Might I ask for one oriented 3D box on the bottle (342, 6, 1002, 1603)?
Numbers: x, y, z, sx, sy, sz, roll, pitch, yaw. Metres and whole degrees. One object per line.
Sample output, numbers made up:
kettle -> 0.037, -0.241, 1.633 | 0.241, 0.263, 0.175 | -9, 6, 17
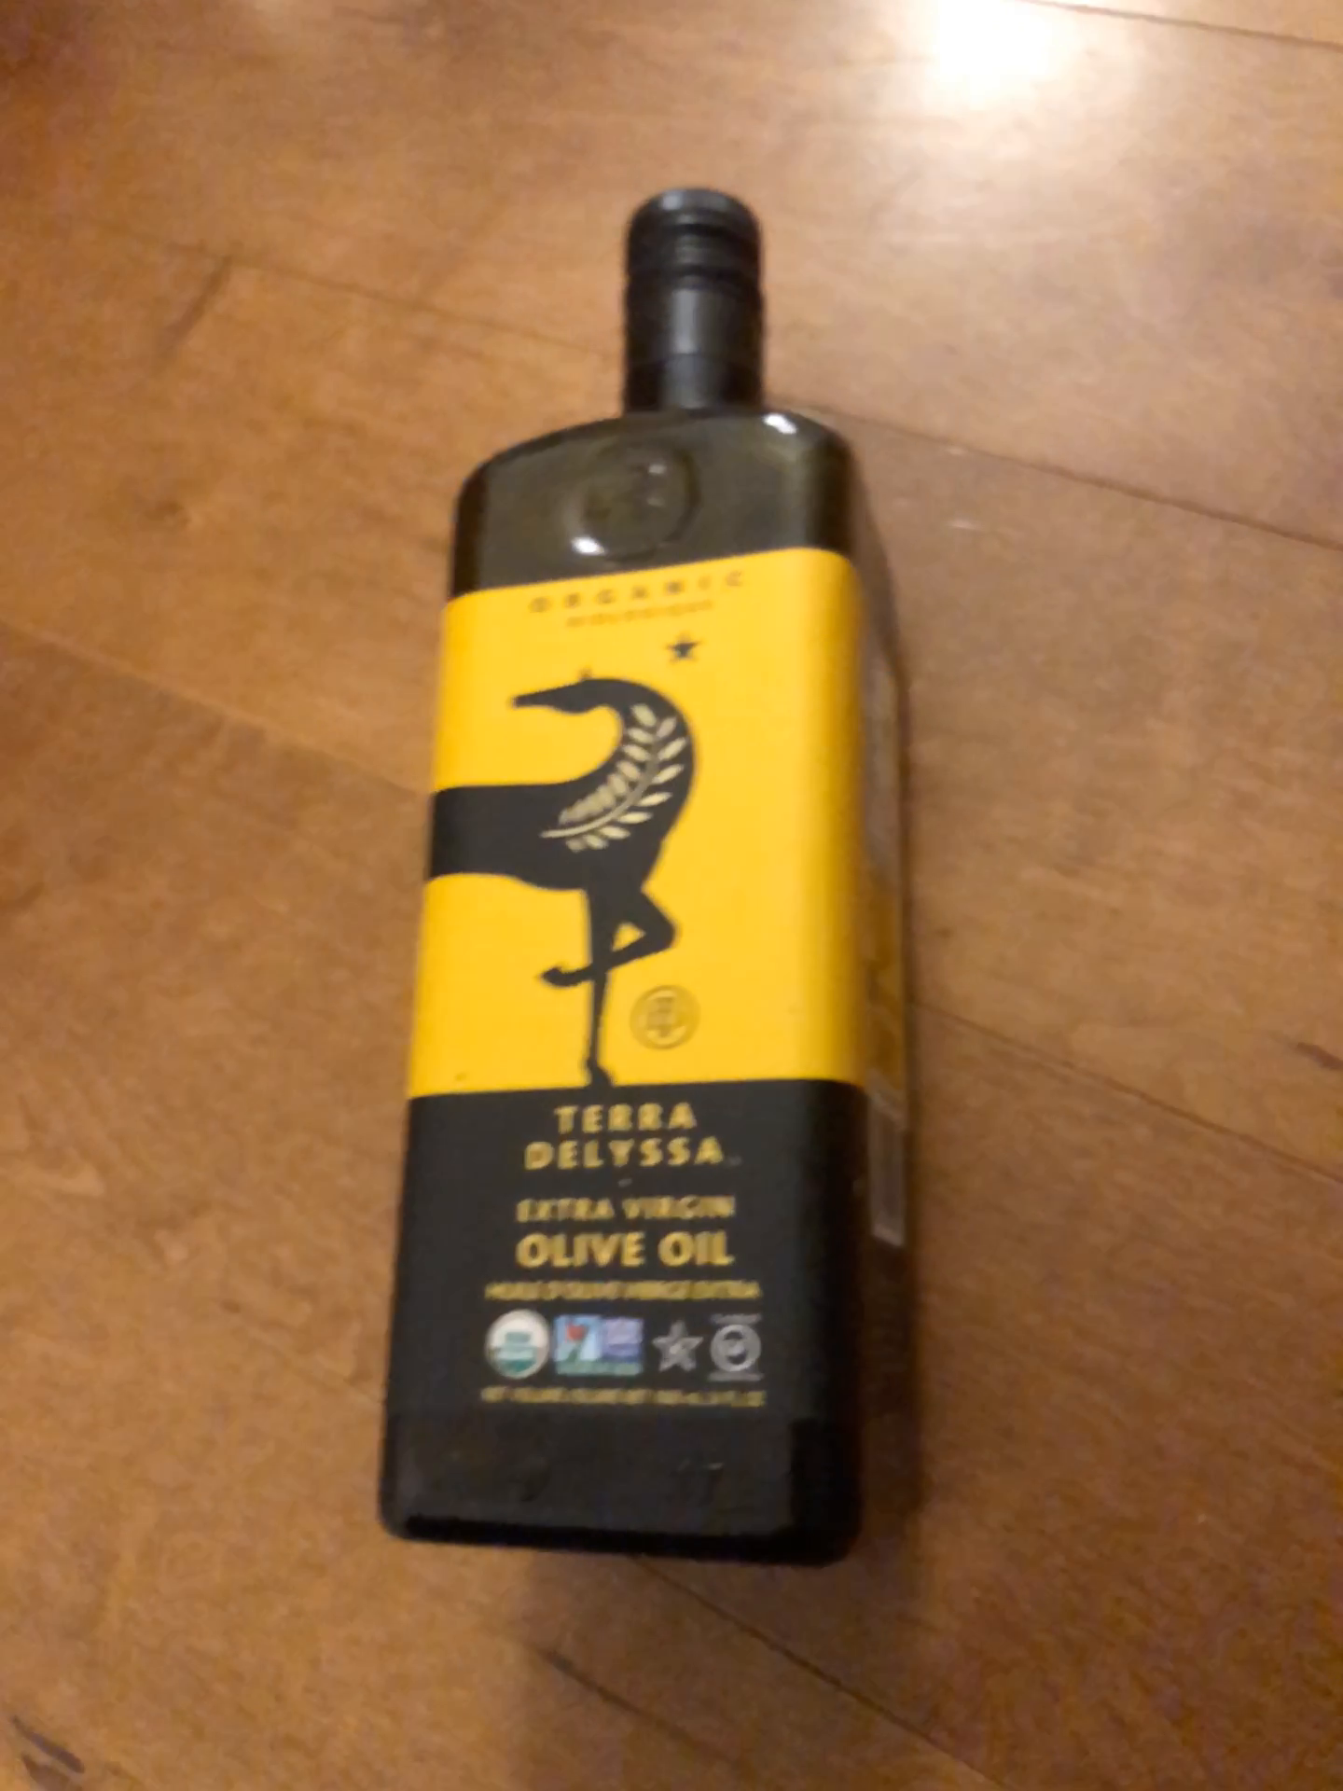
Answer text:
bottle -> 0.004, -0.024, 0.278 | 0.090, 0.060, 0.270 | -5, 71, 16
